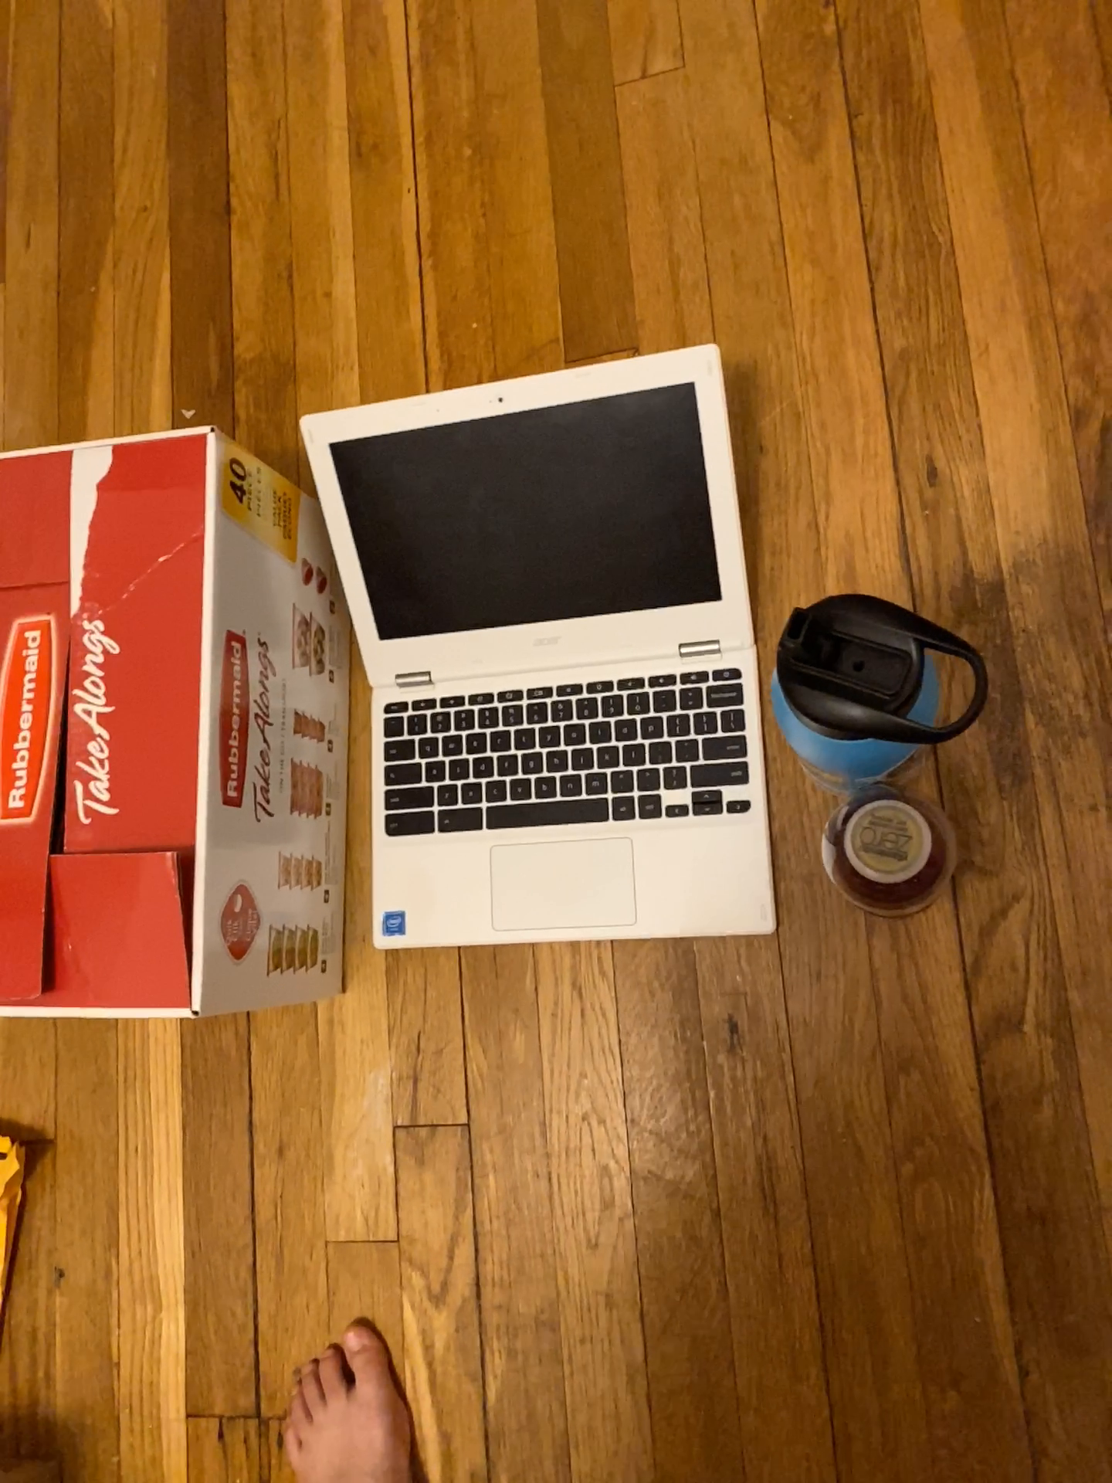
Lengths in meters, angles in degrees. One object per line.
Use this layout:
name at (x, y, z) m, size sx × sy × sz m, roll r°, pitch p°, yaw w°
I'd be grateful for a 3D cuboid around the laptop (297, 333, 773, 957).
laptop at (-0.018, -0.048, 0.759) m, size 0.289 × 0.110 × 0.365 m, roll -5°, pitch 80°, yaw 17°
